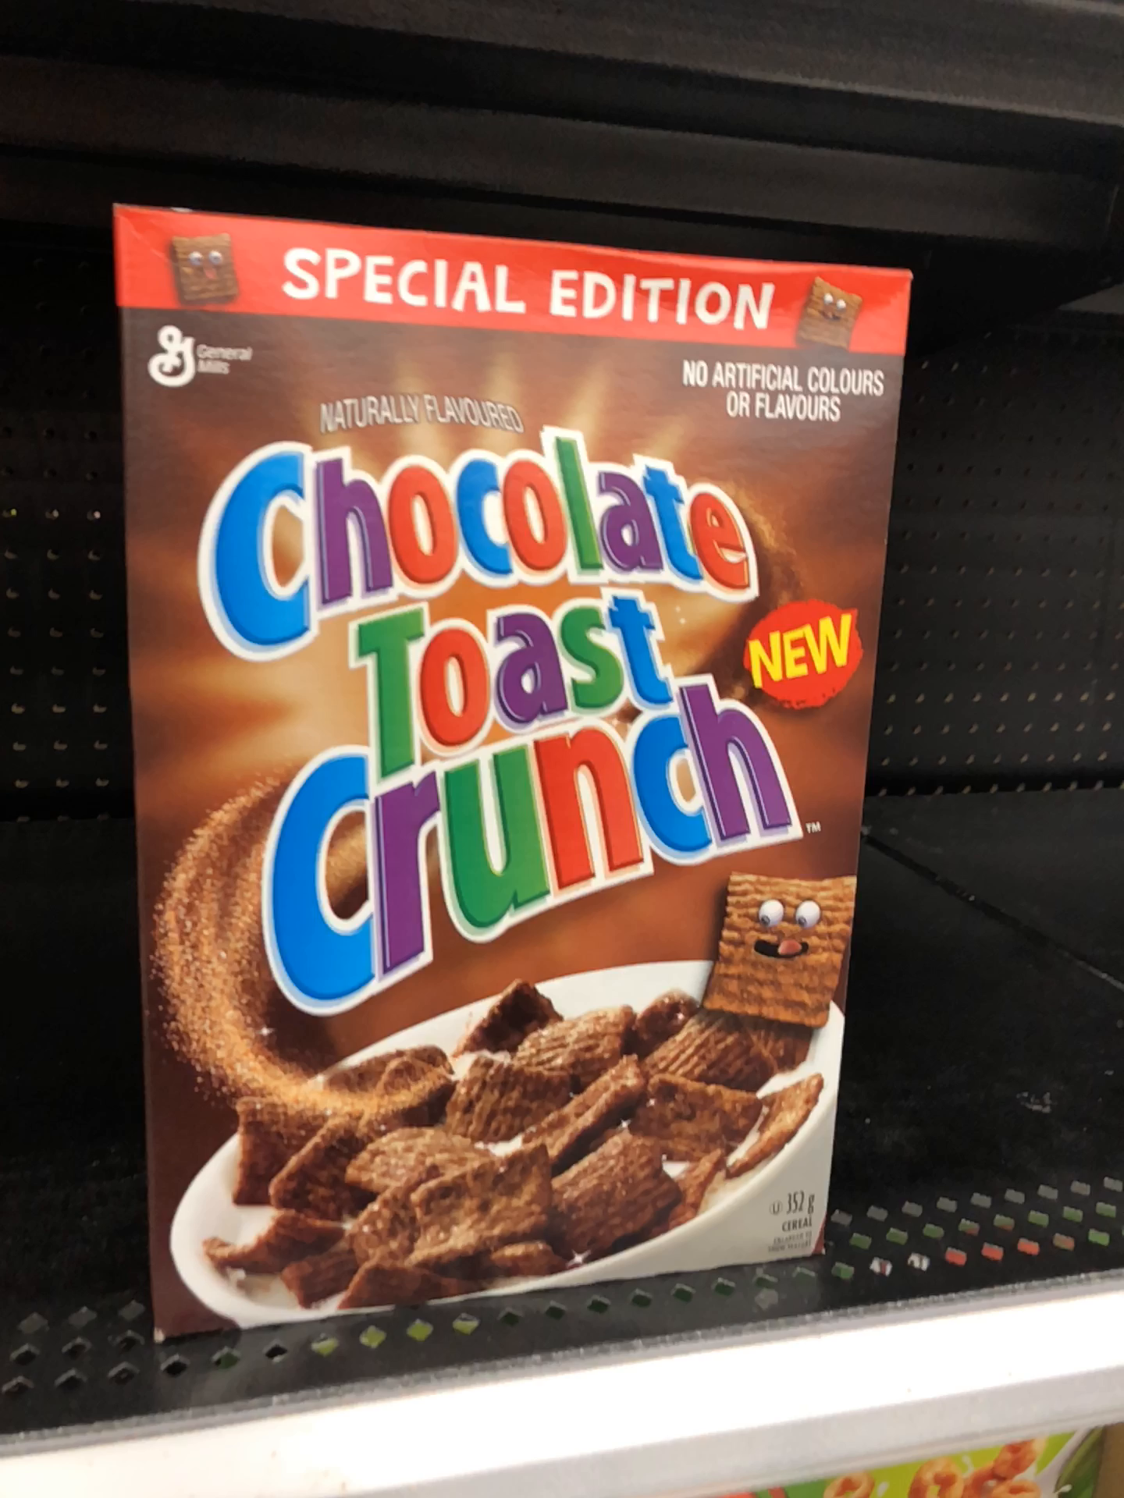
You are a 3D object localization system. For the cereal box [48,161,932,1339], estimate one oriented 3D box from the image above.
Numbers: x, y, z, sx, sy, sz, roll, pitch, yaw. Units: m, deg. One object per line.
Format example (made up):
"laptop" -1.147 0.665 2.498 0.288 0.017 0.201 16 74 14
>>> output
"cereal box" -0.018 0.005 0.326 0.200 0.269 0.050 -1 12 -15
